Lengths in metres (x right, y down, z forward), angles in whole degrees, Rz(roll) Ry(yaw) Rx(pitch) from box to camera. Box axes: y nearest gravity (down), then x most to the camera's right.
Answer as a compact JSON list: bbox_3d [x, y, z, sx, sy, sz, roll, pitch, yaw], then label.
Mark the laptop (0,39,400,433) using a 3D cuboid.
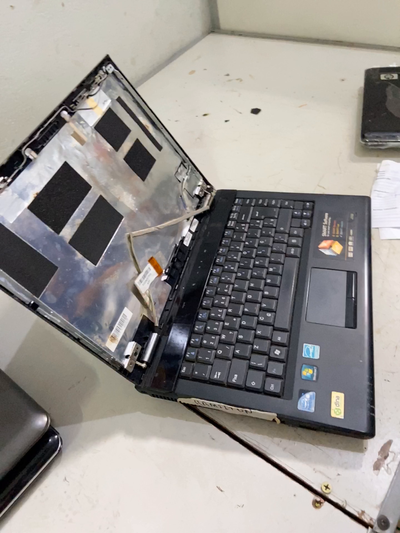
[{"bbox_3d":[0.018,-0.061,0.443,0.335,0.206,0.334,6,50,16],"label":"laptop"}]
